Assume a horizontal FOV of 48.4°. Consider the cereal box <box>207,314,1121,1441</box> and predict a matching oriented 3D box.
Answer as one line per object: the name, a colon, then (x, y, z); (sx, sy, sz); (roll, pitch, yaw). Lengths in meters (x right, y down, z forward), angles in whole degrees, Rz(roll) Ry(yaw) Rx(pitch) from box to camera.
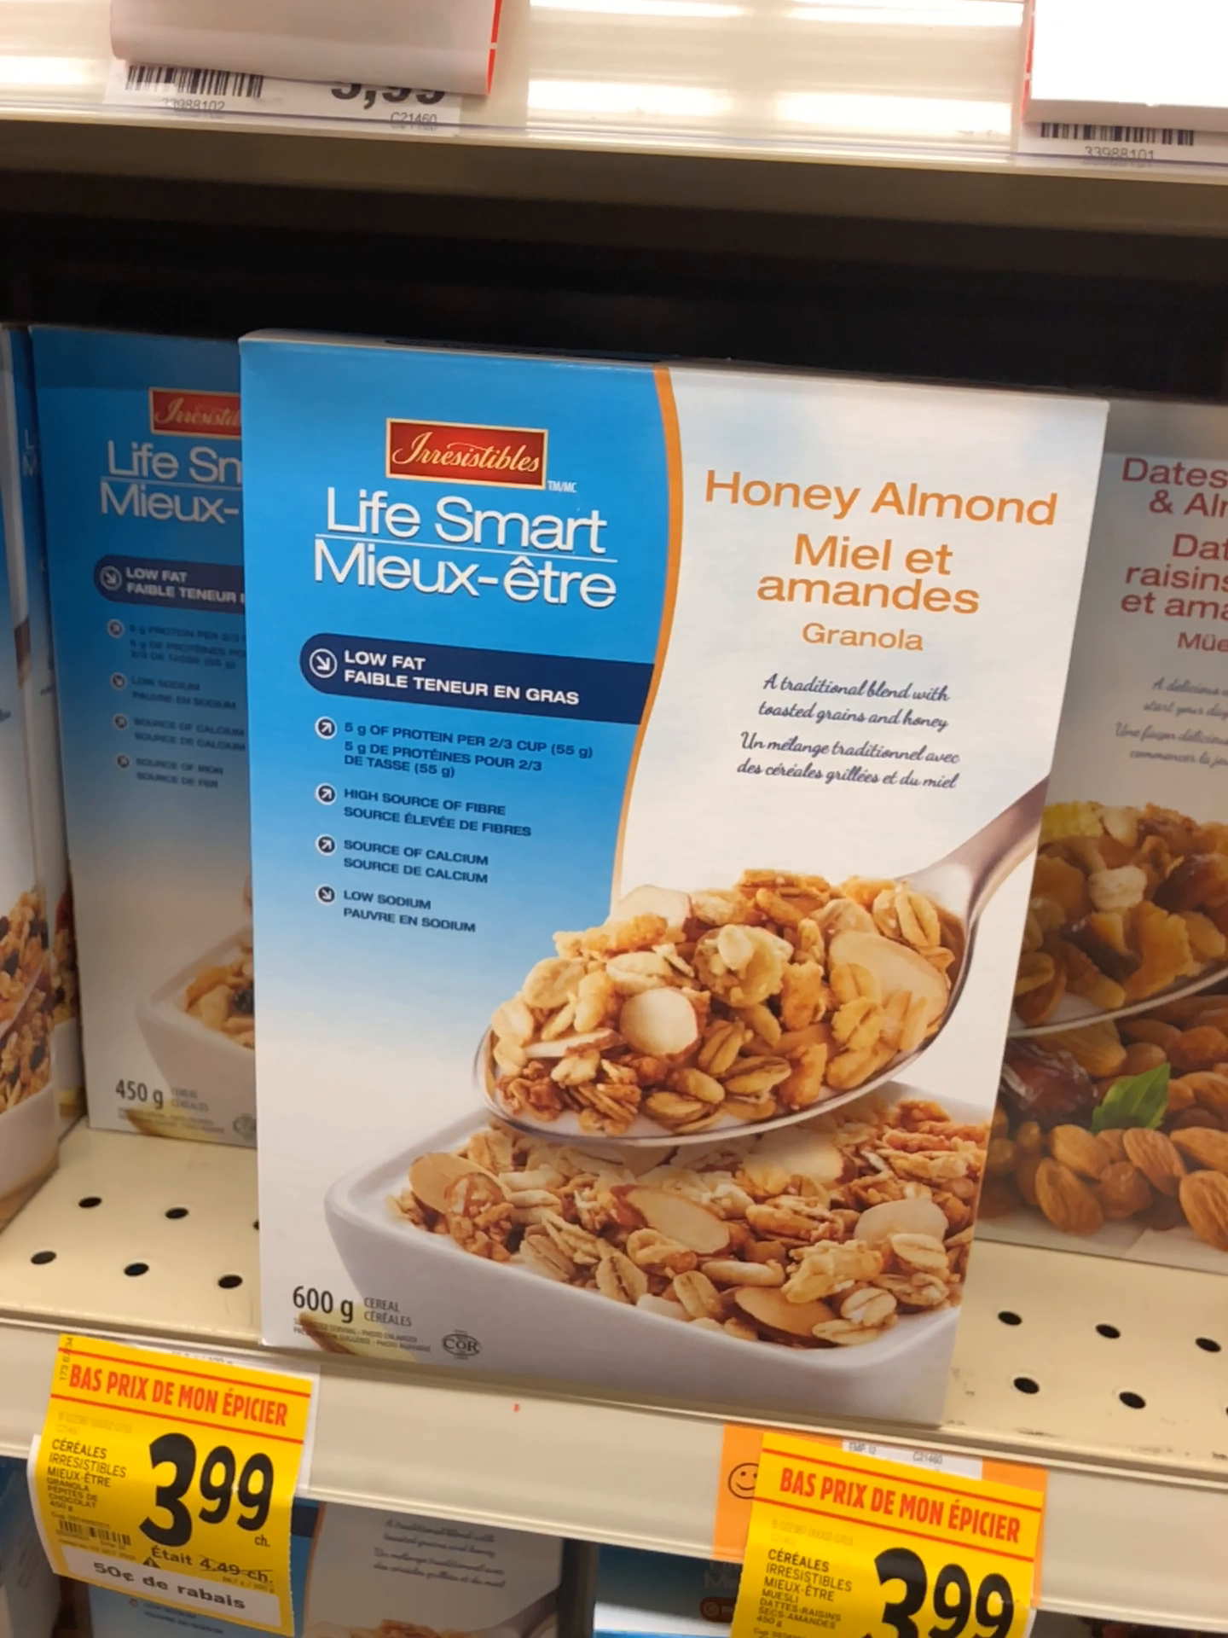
cereal box: (0.003, 0.015, 0.319); (0.170, 0.239, 0.060); (6, 19, 6)
